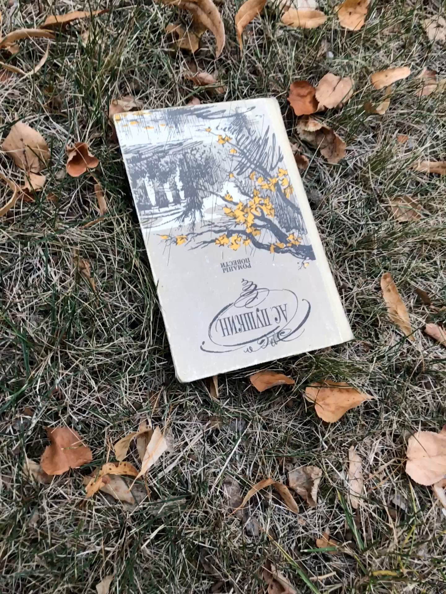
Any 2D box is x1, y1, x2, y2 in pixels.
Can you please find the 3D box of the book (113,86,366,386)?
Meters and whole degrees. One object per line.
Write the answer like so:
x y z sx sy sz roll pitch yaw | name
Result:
0.008 -0.055 0.369 0.135 0.021 0.210 -13 77 -14 | book
